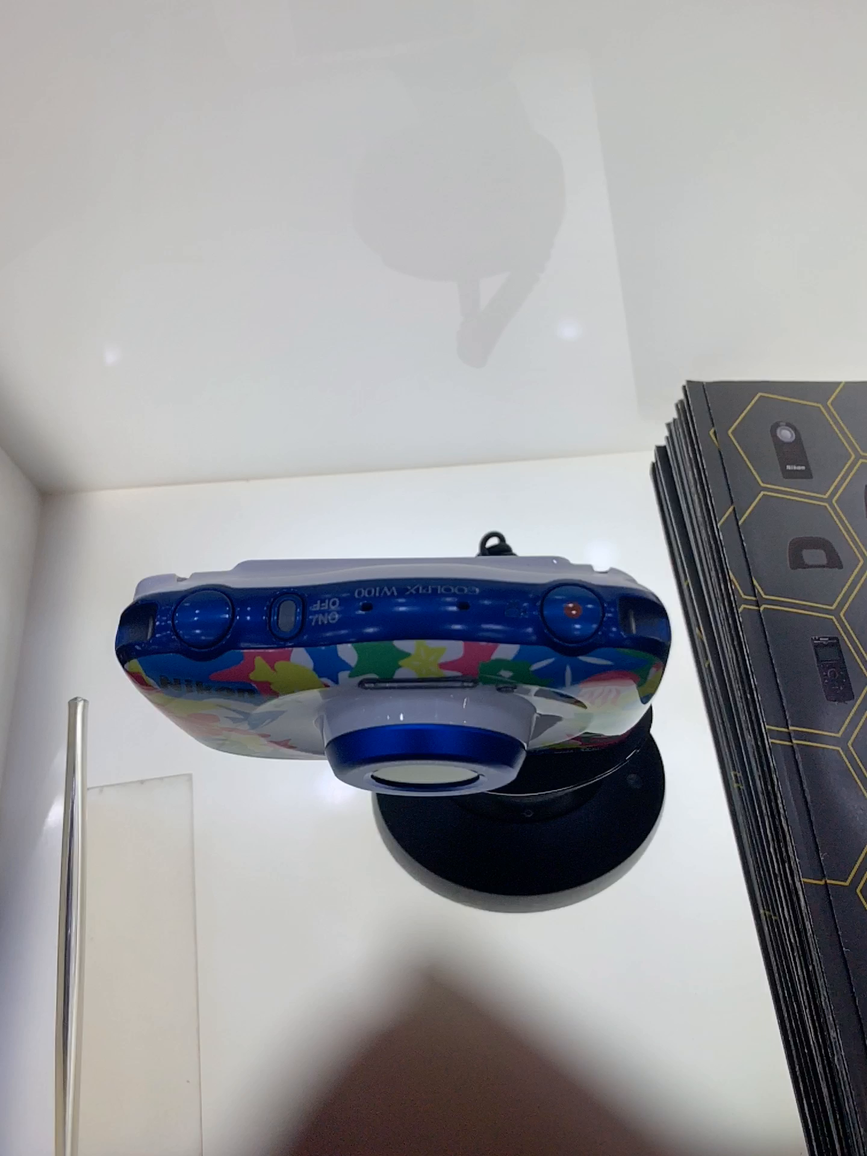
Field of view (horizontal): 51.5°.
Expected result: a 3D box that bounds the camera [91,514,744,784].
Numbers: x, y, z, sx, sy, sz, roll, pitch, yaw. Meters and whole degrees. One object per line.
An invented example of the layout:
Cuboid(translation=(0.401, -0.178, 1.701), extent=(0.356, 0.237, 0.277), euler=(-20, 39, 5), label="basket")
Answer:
Cuboid(translation=(-0.003, 0.019, 0.201), extent=(0.120, 0.060, 0.040), euler=(-1, 64, 2), label="camera")
